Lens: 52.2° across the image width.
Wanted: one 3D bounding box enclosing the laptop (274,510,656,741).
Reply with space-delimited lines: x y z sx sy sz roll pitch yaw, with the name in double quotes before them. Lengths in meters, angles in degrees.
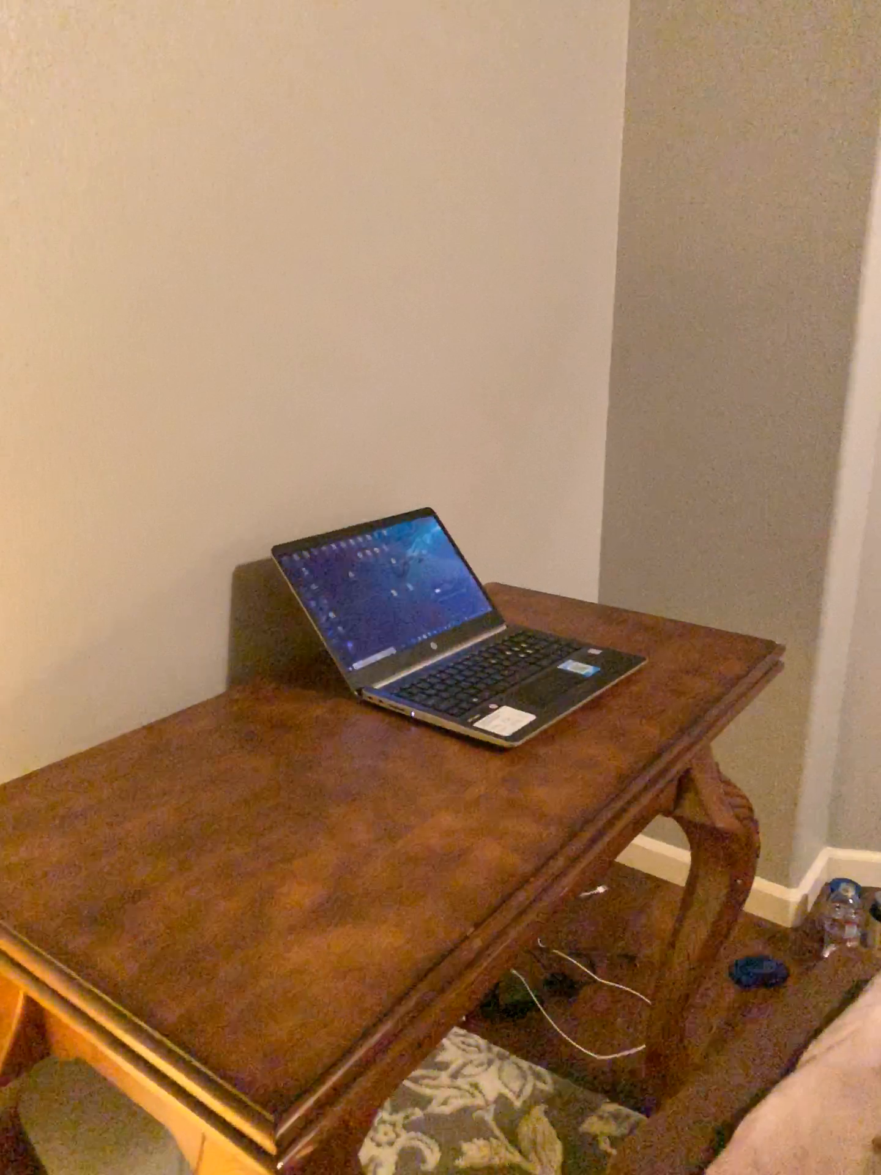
"laptop" 0.034 0.022 1.165 0.368 0.152 0.318 13 20 36
